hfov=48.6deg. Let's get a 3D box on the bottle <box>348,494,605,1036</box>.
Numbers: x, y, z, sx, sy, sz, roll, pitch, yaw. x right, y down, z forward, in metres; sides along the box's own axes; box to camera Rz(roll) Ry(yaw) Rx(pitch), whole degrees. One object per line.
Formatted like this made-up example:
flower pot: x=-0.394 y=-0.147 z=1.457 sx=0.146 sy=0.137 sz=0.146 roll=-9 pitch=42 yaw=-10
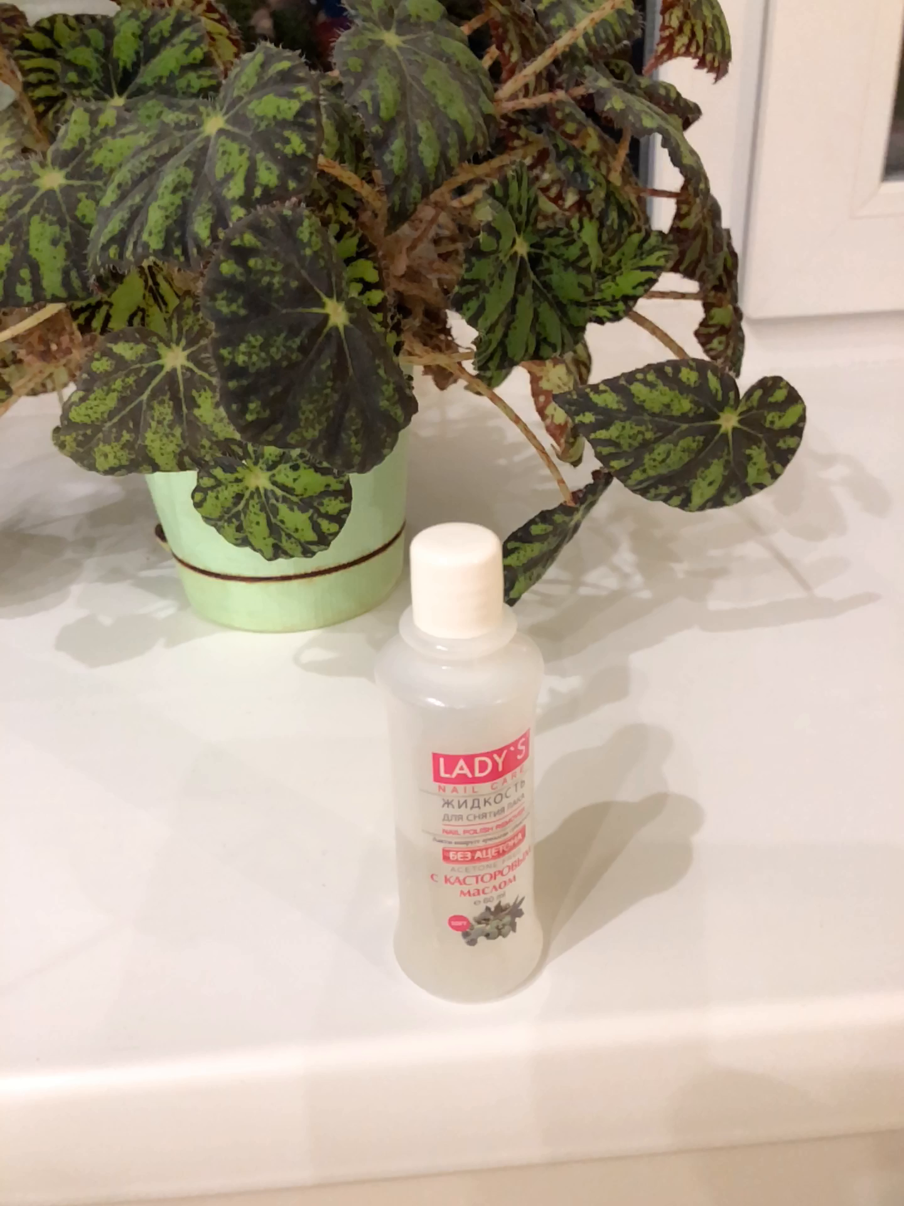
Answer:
bottle: x=0.006 y=0.036 z=0.212 sx=0.037 sy=0.105 sz=0.037 roll=-2 pitch=28 yaw=1
